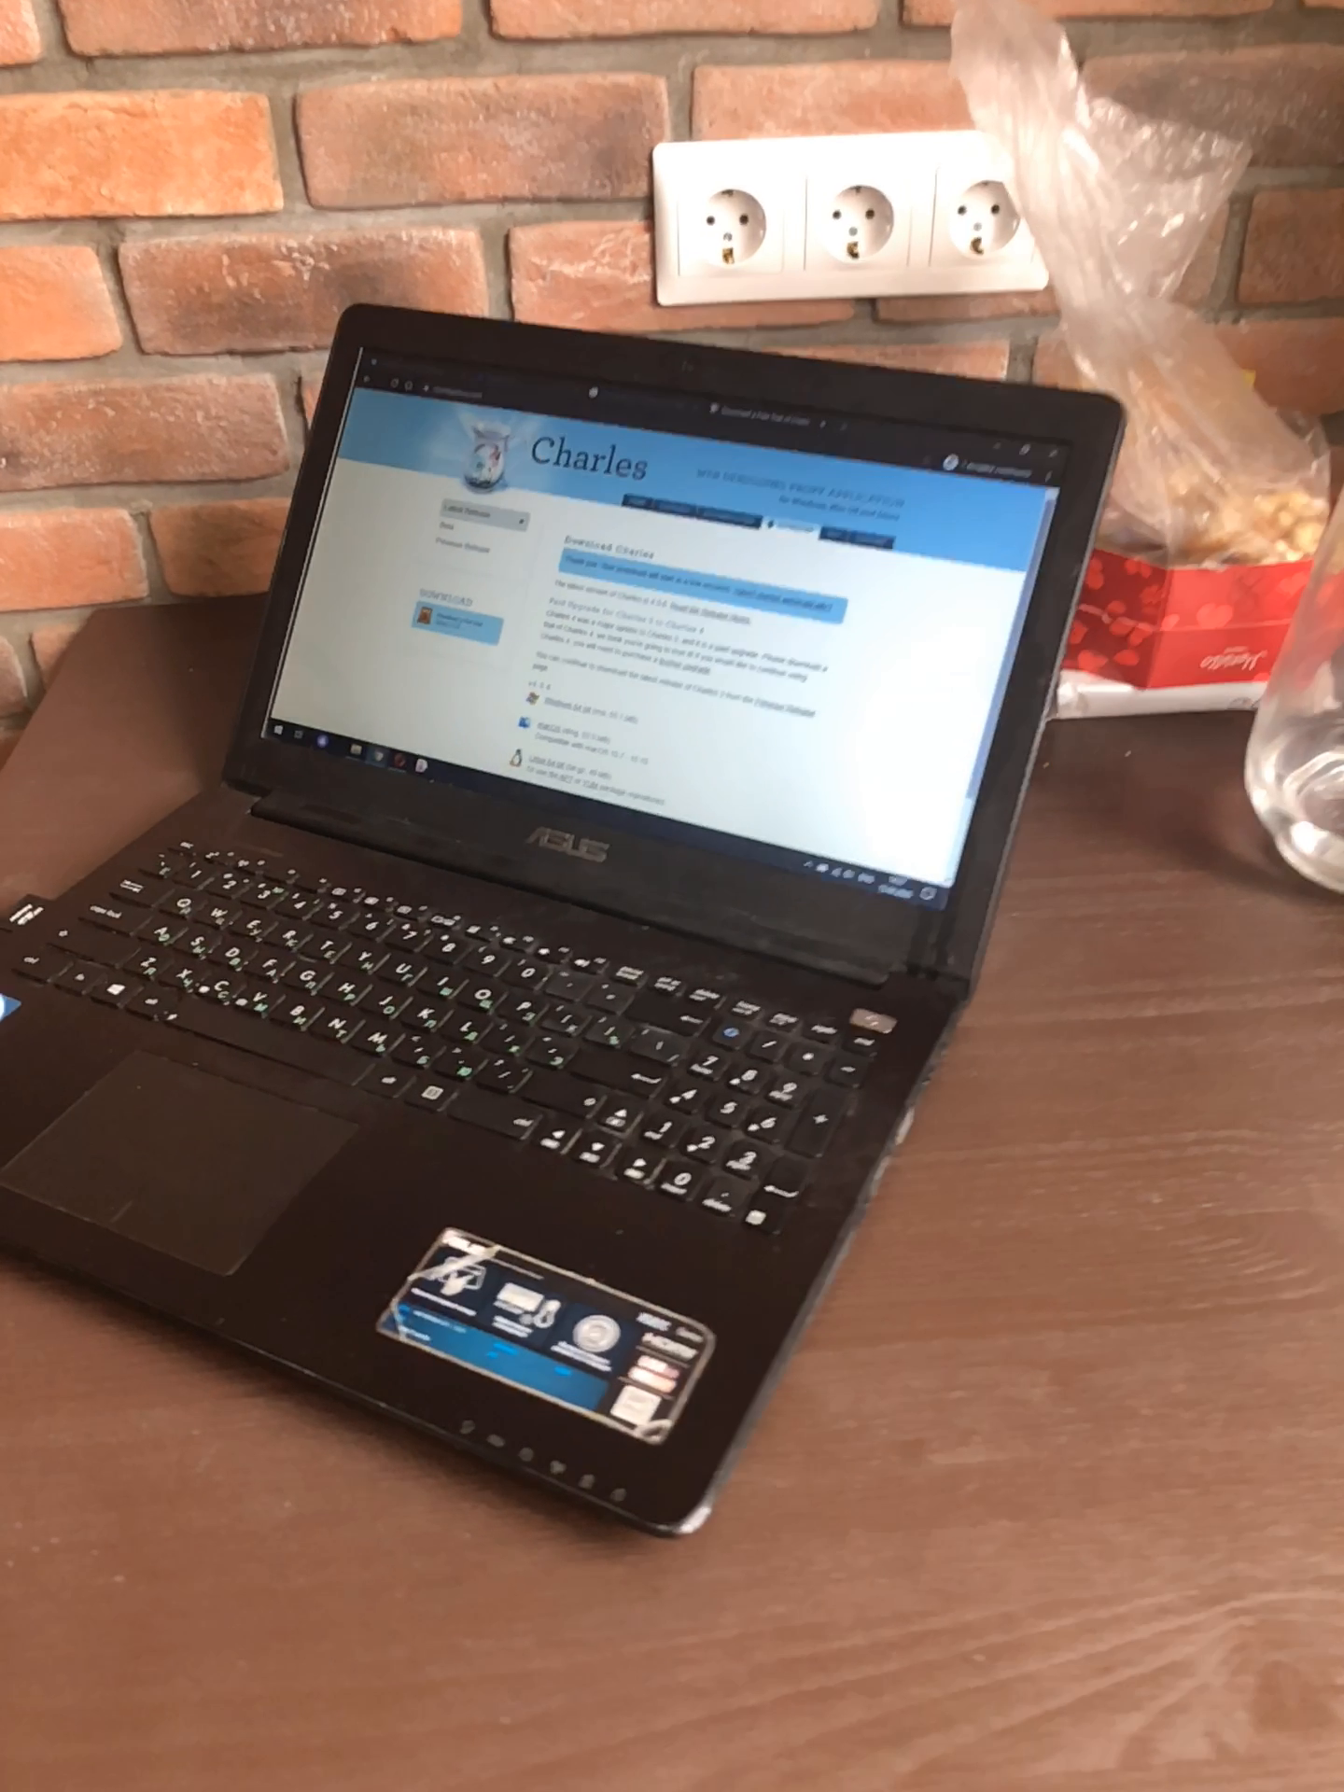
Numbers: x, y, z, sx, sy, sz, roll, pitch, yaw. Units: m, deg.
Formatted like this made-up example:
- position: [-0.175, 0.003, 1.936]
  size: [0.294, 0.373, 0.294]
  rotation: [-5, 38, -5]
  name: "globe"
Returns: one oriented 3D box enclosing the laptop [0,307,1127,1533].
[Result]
- position: [-0.079, -0.057, 0.555]
  size: [0.373, 0.186, 0.401]
  rotation: [15, 39, 22]
  name: "laptop"
